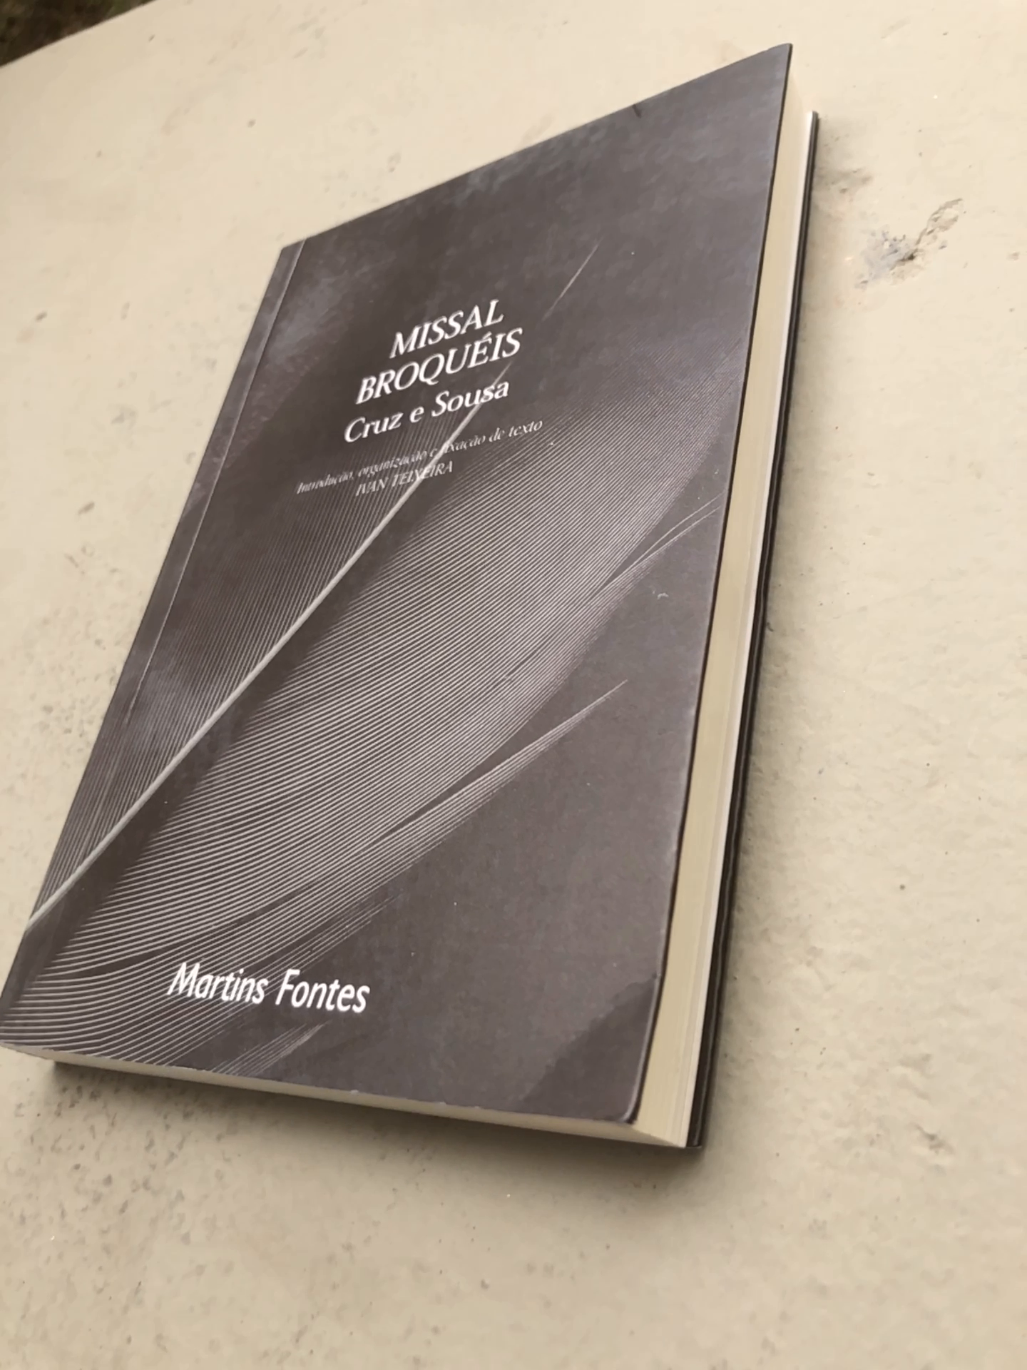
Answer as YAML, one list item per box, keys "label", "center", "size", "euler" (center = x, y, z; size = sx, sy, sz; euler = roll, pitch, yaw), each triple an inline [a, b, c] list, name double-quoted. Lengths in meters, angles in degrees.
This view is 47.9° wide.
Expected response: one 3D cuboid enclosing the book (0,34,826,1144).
- label: "book"
  center: [-0.019, -0.023, 0.196]
  size: [0.128, 0.016, 0.174]
  euler: [-6, 59, 33]
